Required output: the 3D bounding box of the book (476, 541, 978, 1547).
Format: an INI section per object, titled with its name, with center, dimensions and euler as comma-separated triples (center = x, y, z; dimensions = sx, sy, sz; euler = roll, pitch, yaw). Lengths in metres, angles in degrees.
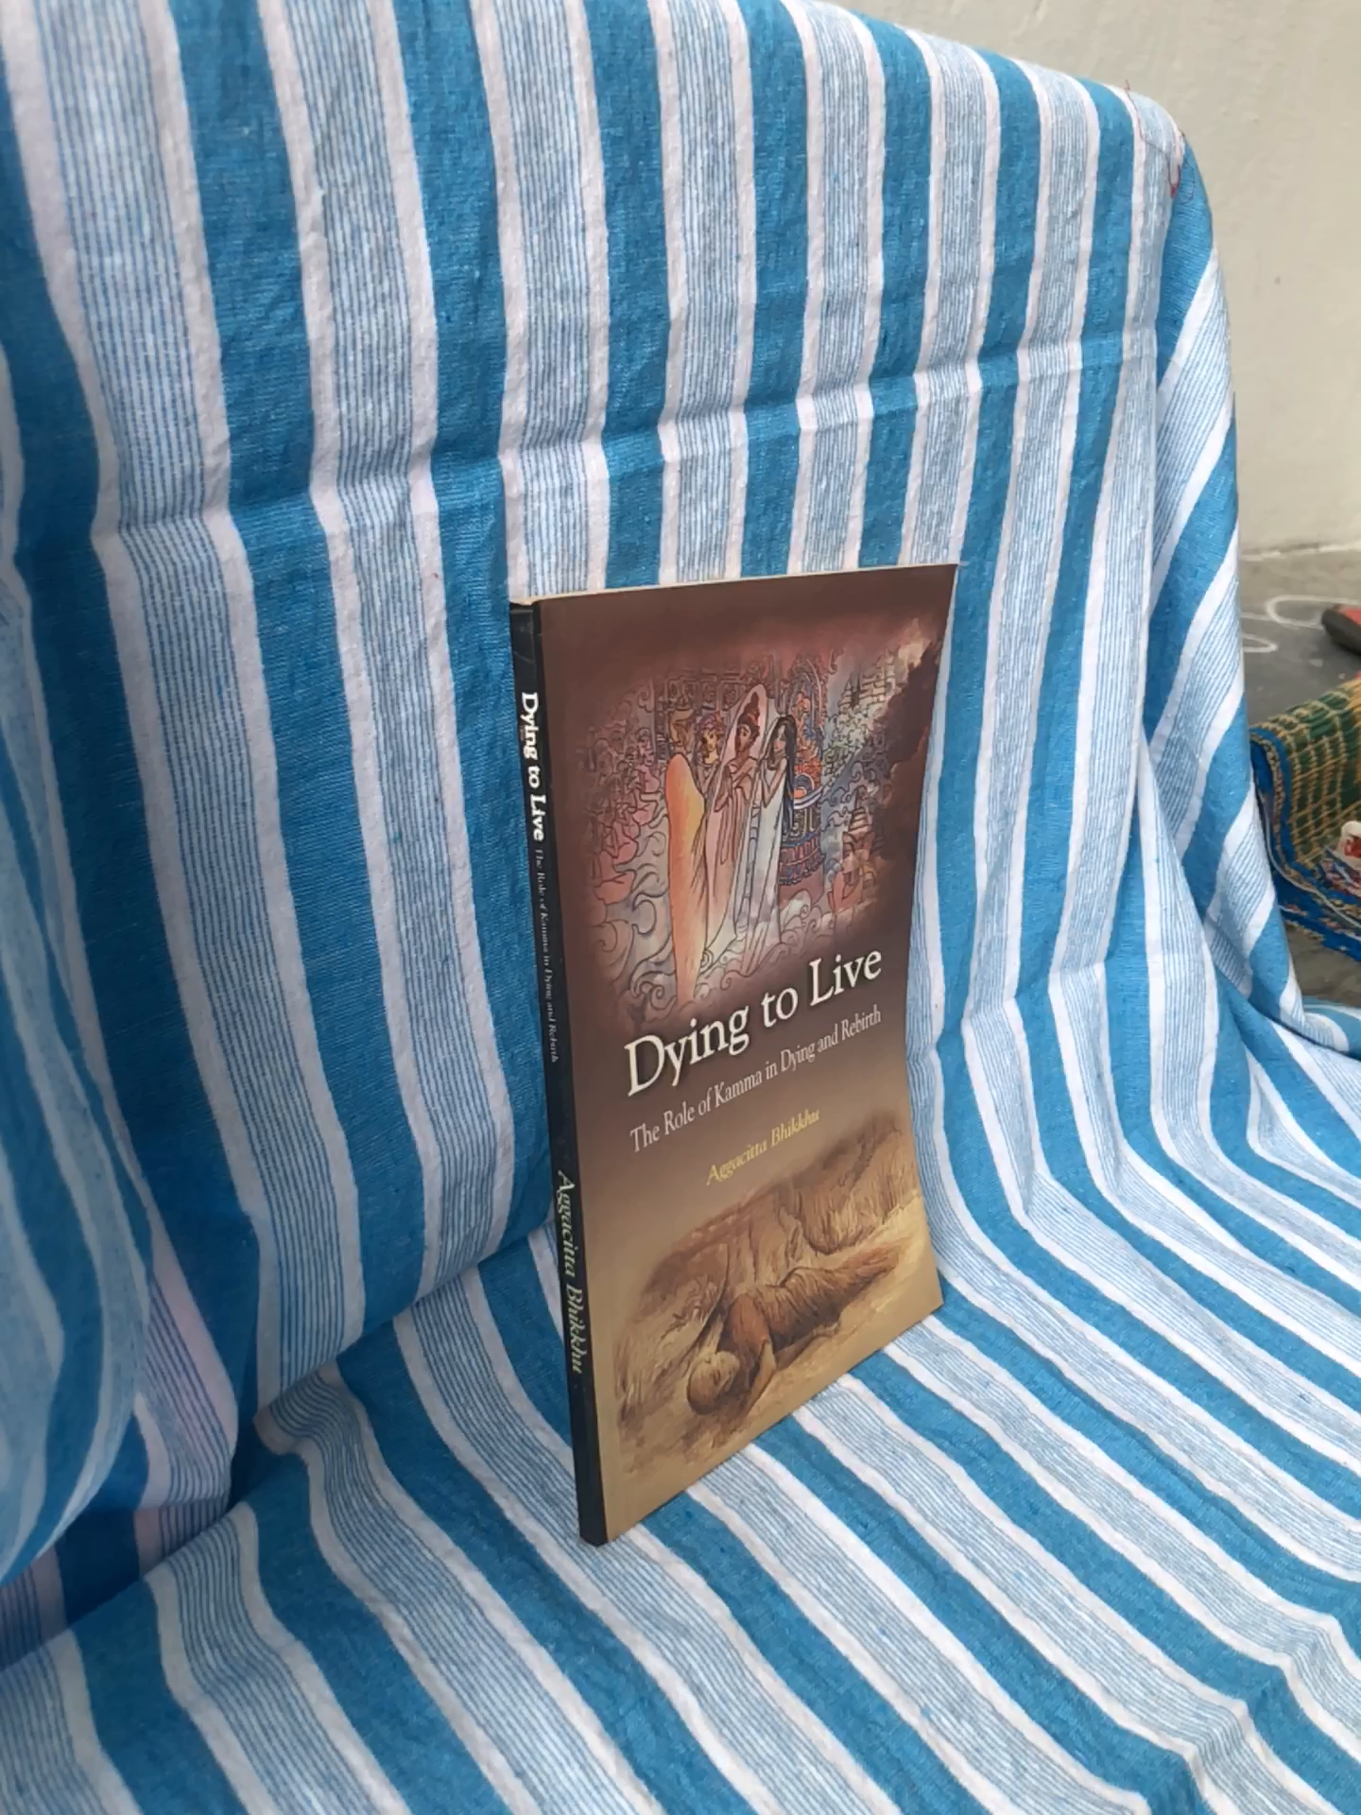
[book]
center = 0.023, 0.019, 0.368
dimensions = 0.020, 0.210, 0.151
euler = 5, 13, 40
